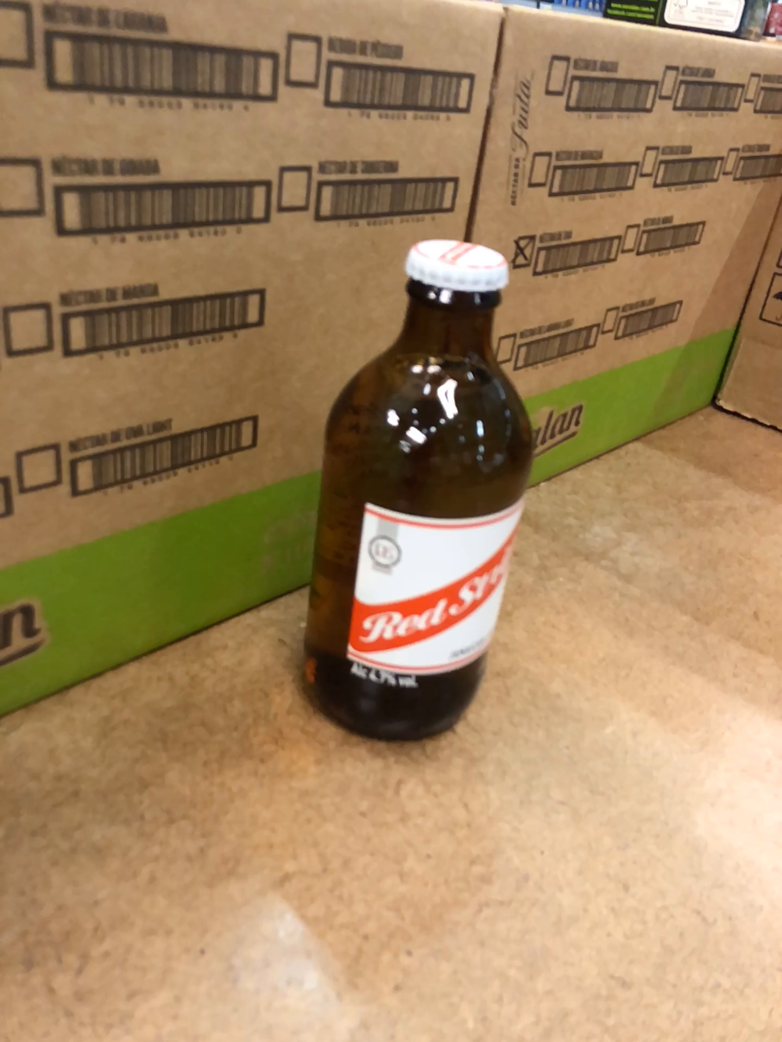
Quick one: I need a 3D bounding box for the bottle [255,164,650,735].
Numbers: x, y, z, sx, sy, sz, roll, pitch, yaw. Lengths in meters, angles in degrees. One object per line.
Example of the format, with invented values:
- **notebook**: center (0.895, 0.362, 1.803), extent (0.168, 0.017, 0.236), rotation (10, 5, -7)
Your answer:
- **bottle**: center (0.009, -0.023, 0.280), extent (0.080, 0.159, 0.070), rotation (-9, 34, -28)
